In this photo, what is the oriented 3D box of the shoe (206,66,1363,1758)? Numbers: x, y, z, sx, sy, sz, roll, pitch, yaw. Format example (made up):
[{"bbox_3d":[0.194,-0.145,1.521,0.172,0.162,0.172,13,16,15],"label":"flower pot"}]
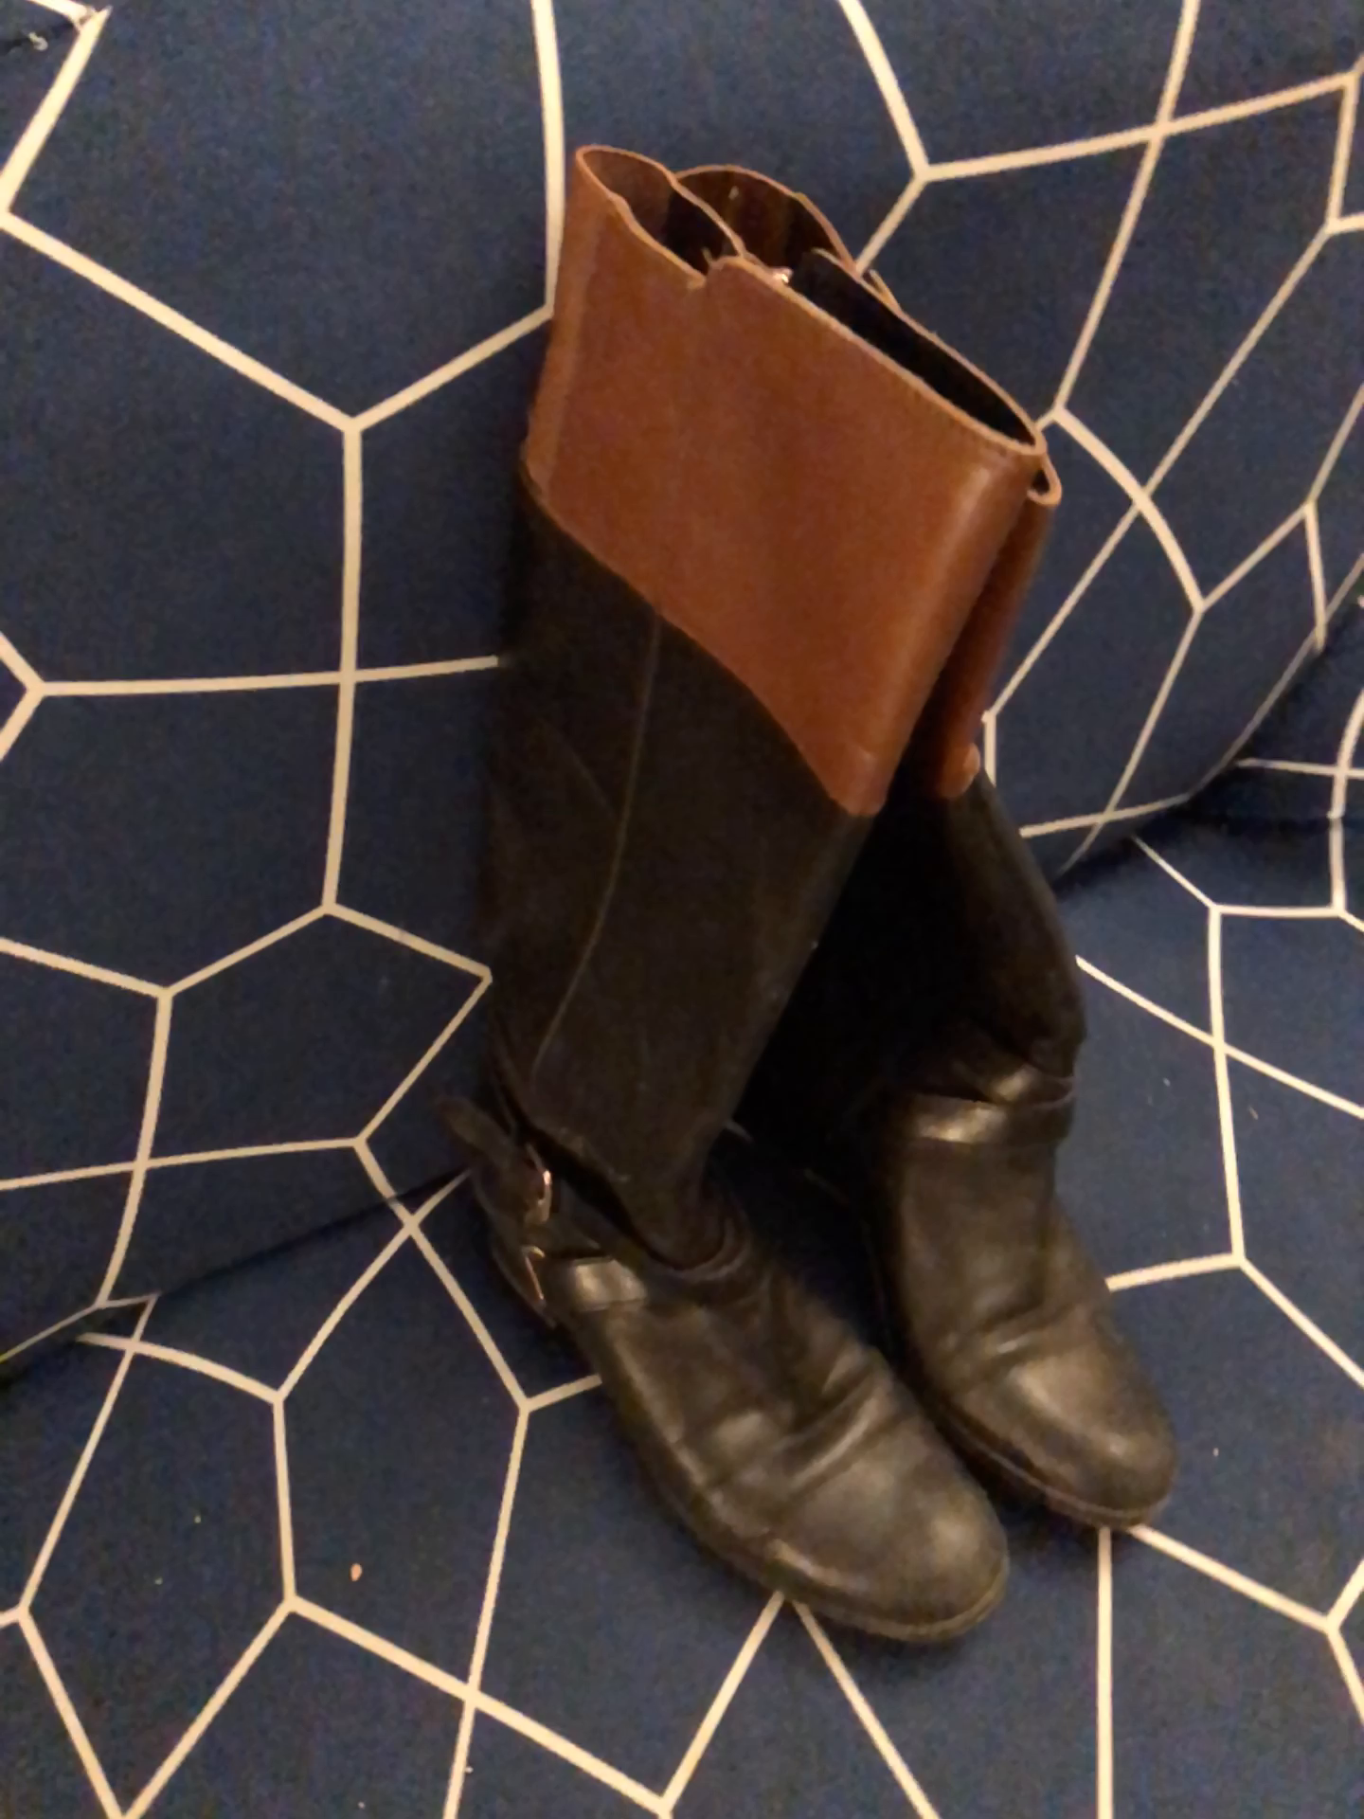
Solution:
[{"bbox_3d":[0.011,0.047,0.433,0.110,0.428,0.271,-25,58,-20],"label":"shoe"}]

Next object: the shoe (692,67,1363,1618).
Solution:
[{"bbox_3d":[0.100,0.020,0.430,0.100,0.378,0.251,-18,57,-13],"label":"shoe"}]
